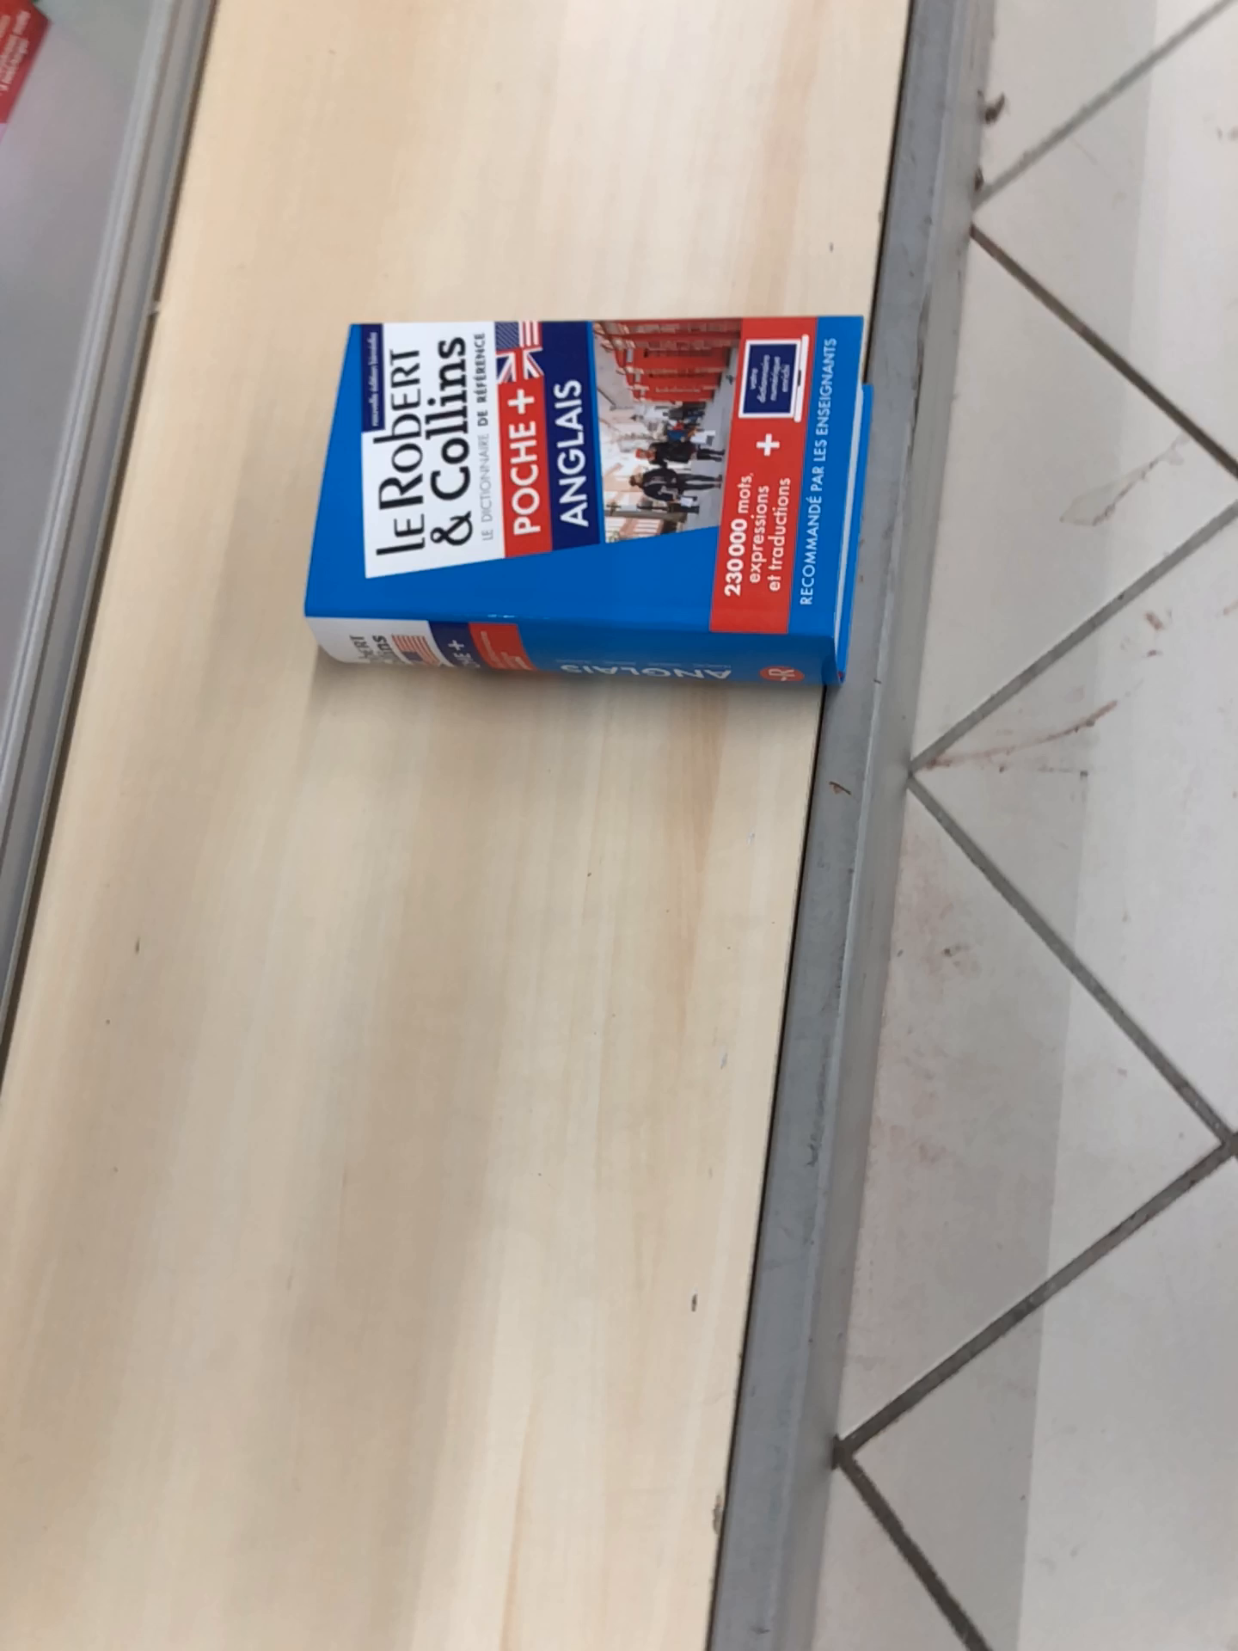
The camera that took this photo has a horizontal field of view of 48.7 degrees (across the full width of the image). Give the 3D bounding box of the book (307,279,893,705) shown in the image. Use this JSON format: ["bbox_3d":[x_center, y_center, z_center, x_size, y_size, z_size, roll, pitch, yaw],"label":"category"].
[{"bbox_3d":[-0.003,-0.115,0.474,0.183,0.051,0.129,4,79,13],"label":"book"}]
